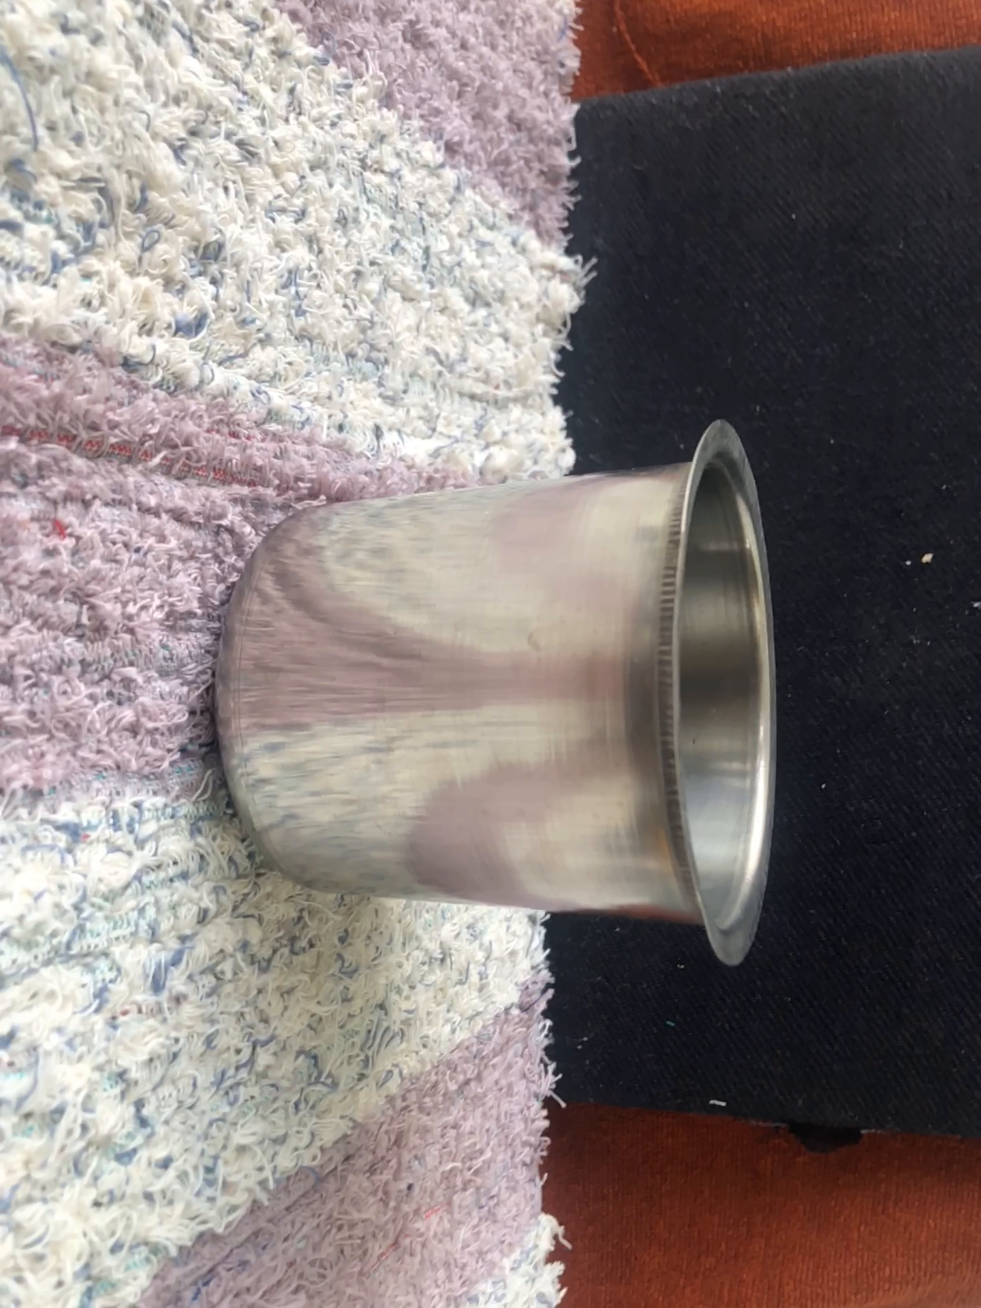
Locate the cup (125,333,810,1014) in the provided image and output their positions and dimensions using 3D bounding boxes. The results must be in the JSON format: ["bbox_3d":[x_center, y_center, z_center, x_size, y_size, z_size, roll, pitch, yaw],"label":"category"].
[{"bbox_3d":[0.006,0.009,0.224,0.101,0.099,0.100,0,90,-67],"label":"cup"}]
